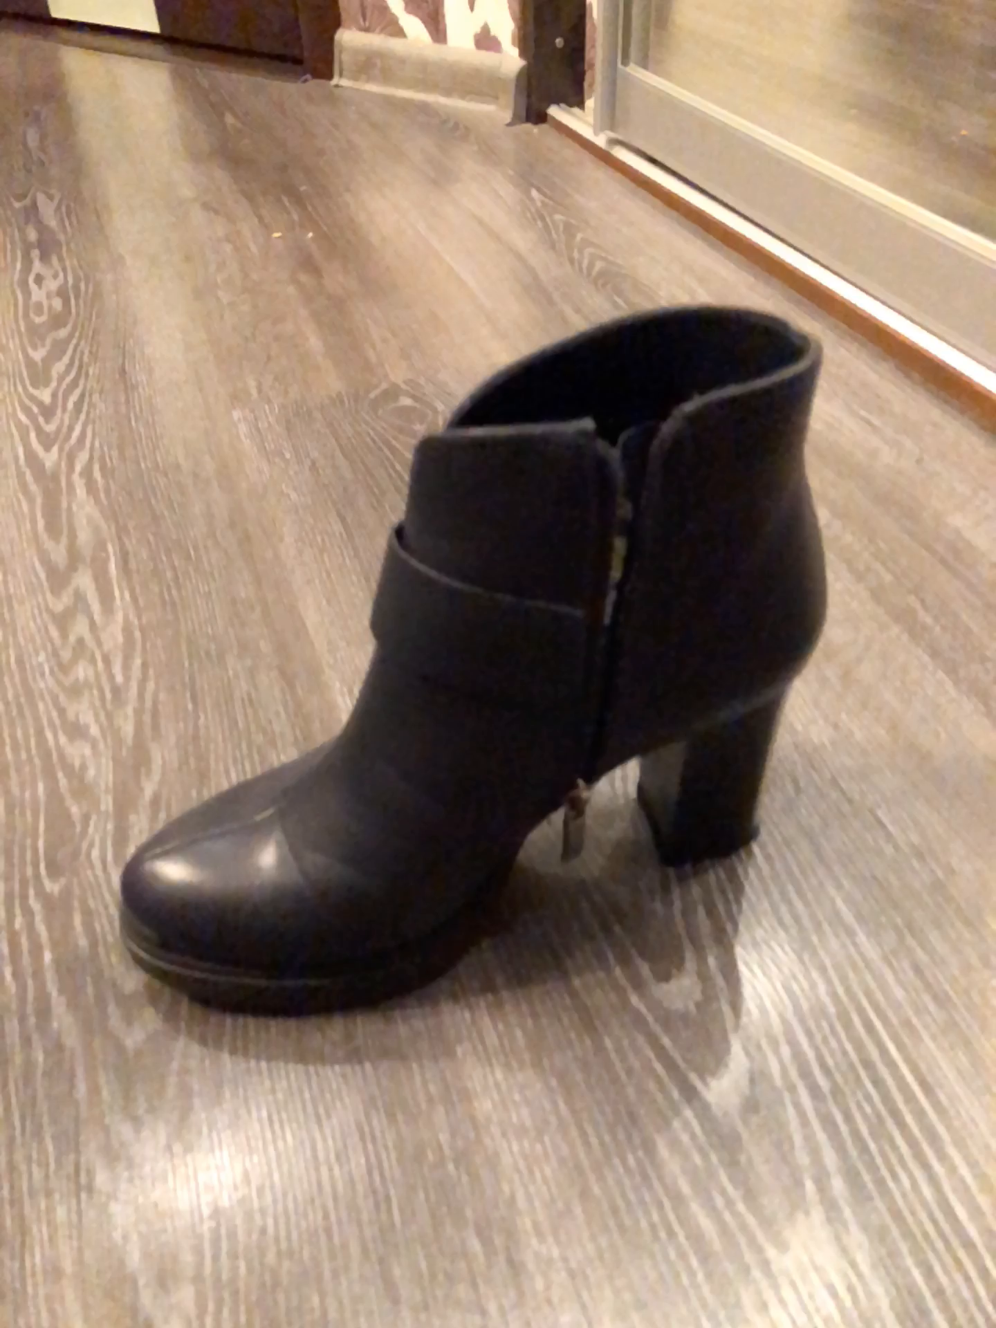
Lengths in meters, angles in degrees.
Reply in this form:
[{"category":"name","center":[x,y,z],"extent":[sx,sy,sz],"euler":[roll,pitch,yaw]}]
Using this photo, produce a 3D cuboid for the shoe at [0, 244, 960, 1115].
[{"category":"shoe","center":[-0.015,0.004,0.323],"extent":[0.240,0.189,0.091],"euler":[-15,42,-14]}]
